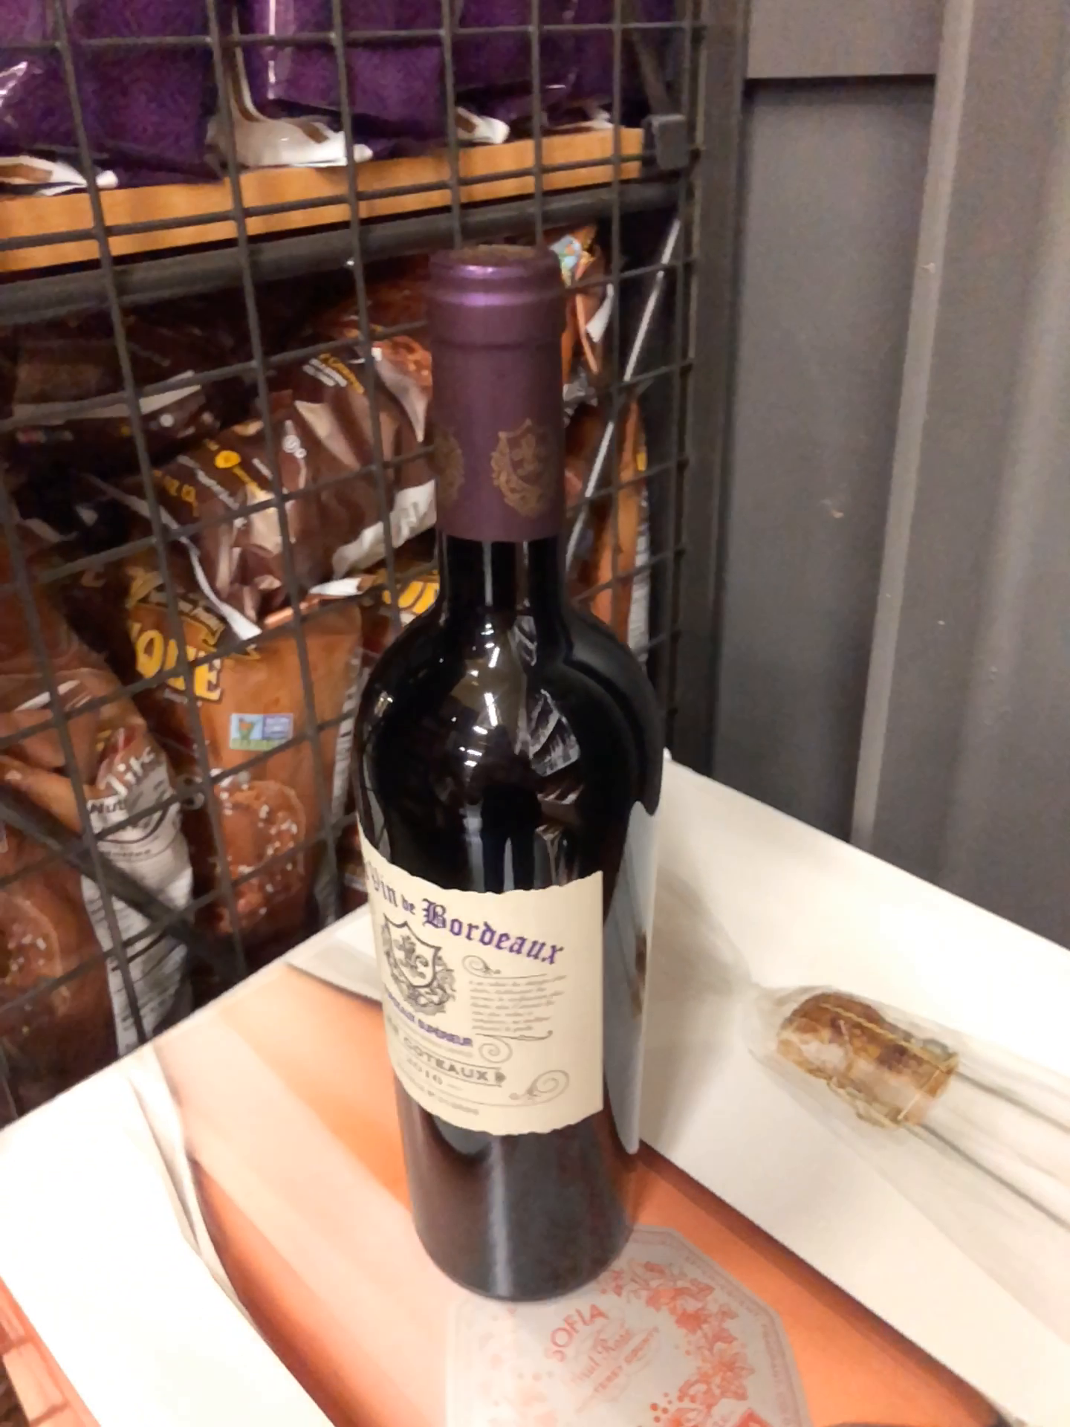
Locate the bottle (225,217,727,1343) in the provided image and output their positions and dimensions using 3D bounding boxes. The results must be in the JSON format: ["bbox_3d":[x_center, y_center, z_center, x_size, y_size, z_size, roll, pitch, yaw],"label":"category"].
[{"bbox_3d":[-0.005,0.028,0.322,0.073,0.290,0.085,14,32,27],"label":"bottle"}]
